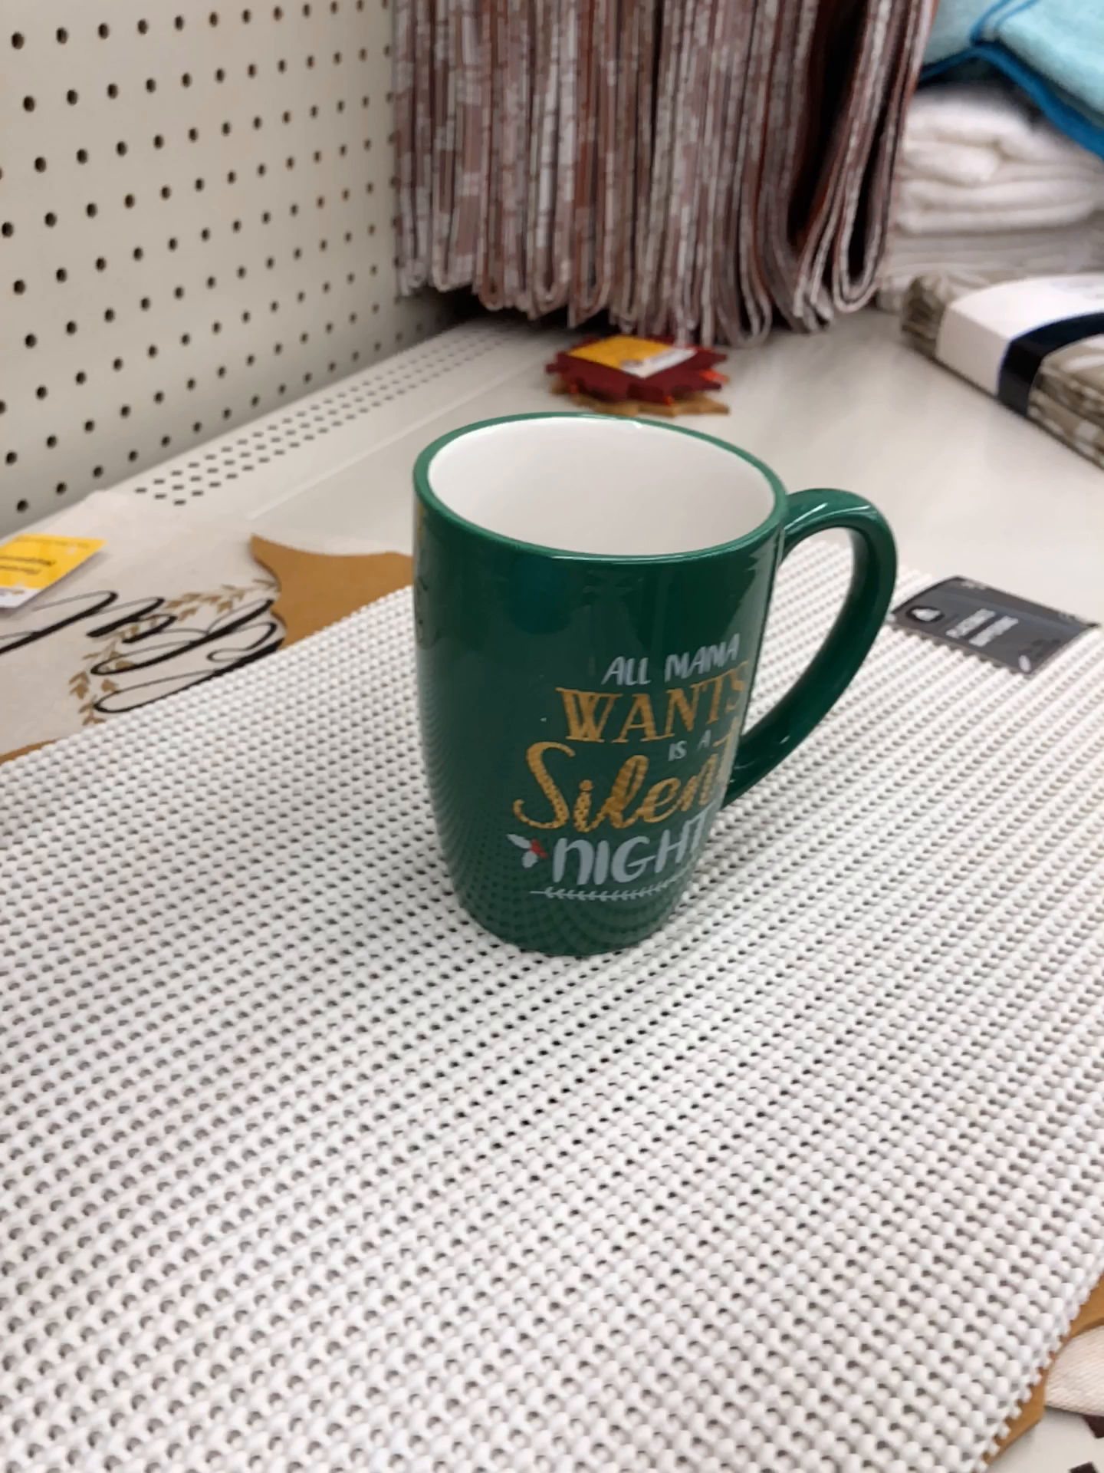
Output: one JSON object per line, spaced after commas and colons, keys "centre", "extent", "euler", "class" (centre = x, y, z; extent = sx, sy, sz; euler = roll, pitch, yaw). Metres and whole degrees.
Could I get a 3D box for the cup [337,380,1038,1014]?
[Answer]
{"centre": [0.028, -0.019, 0.332], "extent": [0.140, 0.110, 0.100], "euler": [-13, 37, -20], "class": "cup"}
